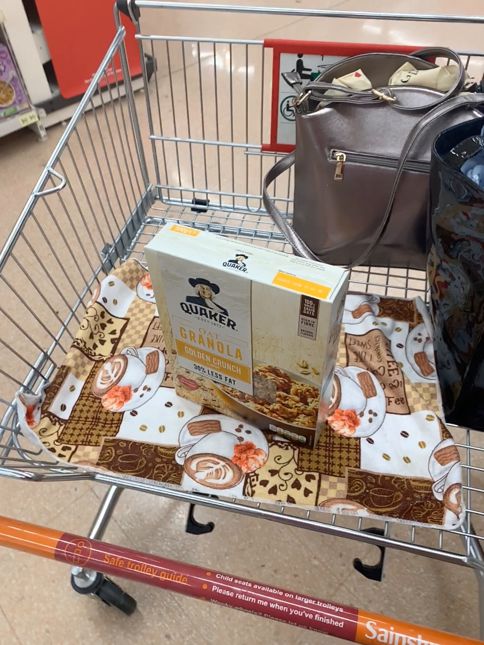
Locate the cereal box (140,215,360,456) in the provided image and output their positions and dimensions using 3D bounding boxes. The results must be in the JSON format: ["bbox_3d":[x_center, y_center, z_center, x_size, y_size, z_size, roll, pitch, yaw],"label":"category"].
[{"bbox_3d":[0.008,0.025,0.549,0.200,0.258,0.050,18,50,18],"label":"cereal box"}]
